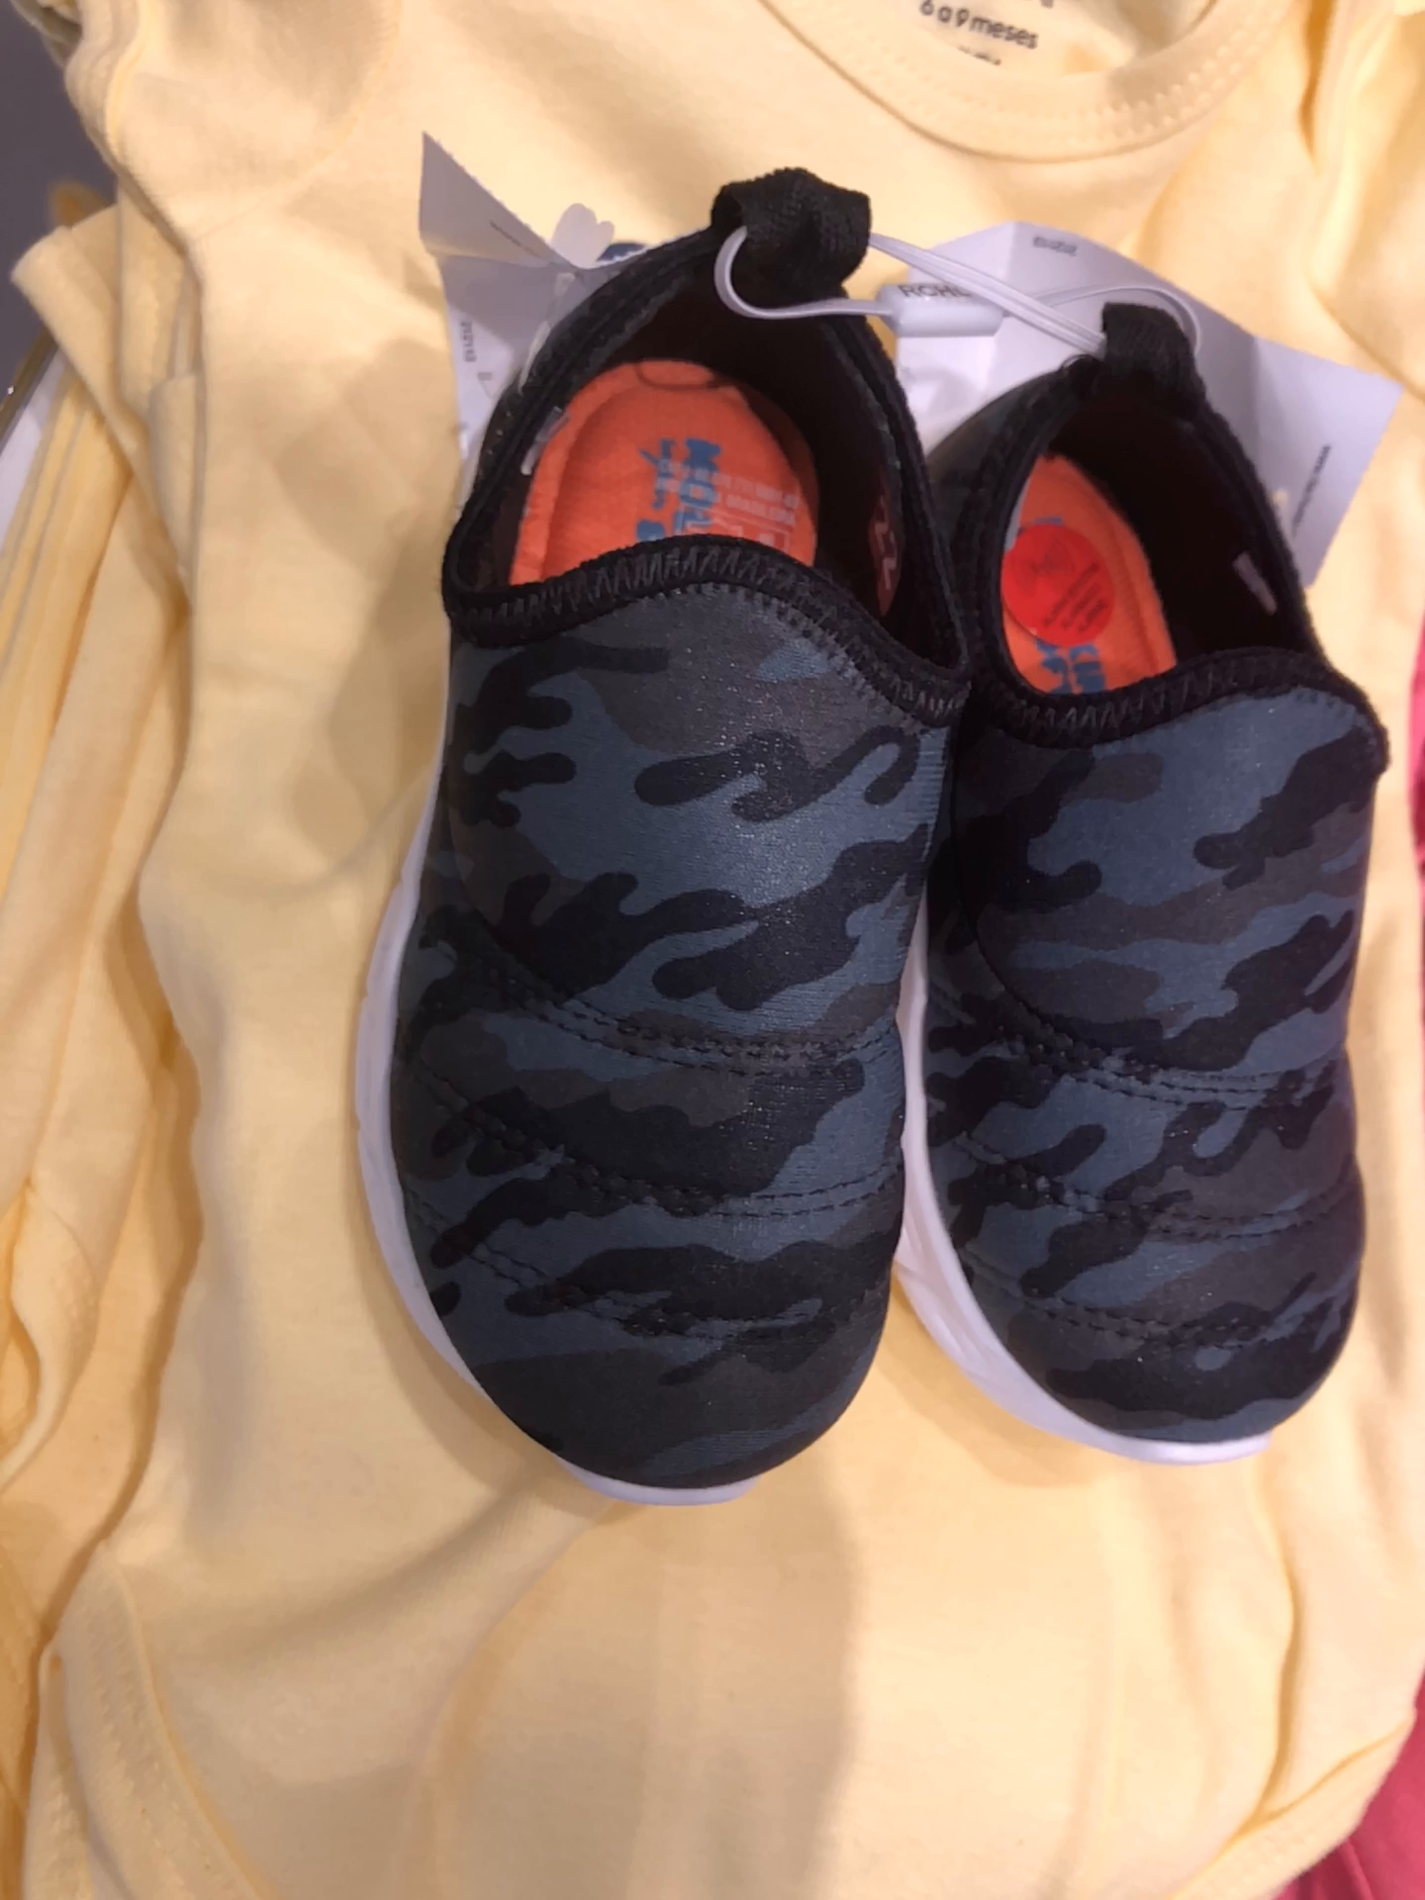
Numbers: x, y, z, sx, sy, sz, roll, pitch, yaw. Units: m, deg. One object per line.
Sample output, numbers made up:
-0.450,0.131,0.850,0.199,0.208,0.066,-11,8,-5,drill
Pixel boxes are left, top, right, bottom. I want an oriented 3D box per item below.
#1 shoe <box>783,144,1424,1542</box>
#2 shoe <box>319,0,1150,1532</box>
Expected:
0.064,-0.012,0.210,0.070,0.070,0.150,-4,79,-20,shoe
-0.005,-0.016,0.194,0.070,0.080,0.150,3,77,-18,shoe
